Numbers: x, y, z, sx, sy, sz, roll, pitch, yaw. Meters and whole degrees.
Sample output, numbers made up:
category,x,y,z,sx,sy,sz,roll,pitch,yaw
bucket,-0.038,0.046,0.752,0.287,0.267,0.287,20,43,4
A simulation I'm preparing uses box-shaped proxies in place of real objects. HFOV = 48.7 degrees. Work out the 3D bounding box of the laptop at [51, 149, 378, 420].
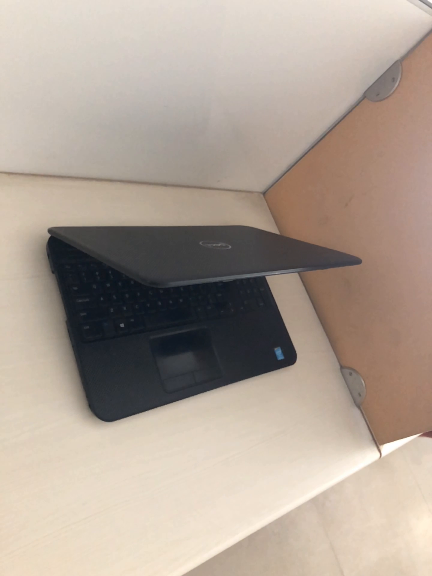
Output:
category,x,y,z,sx,sy,sz,roll,pitch,yaw
laptop,0.008,-0.013,0.659,0.366,0.177,0.247,-7,69,-42
